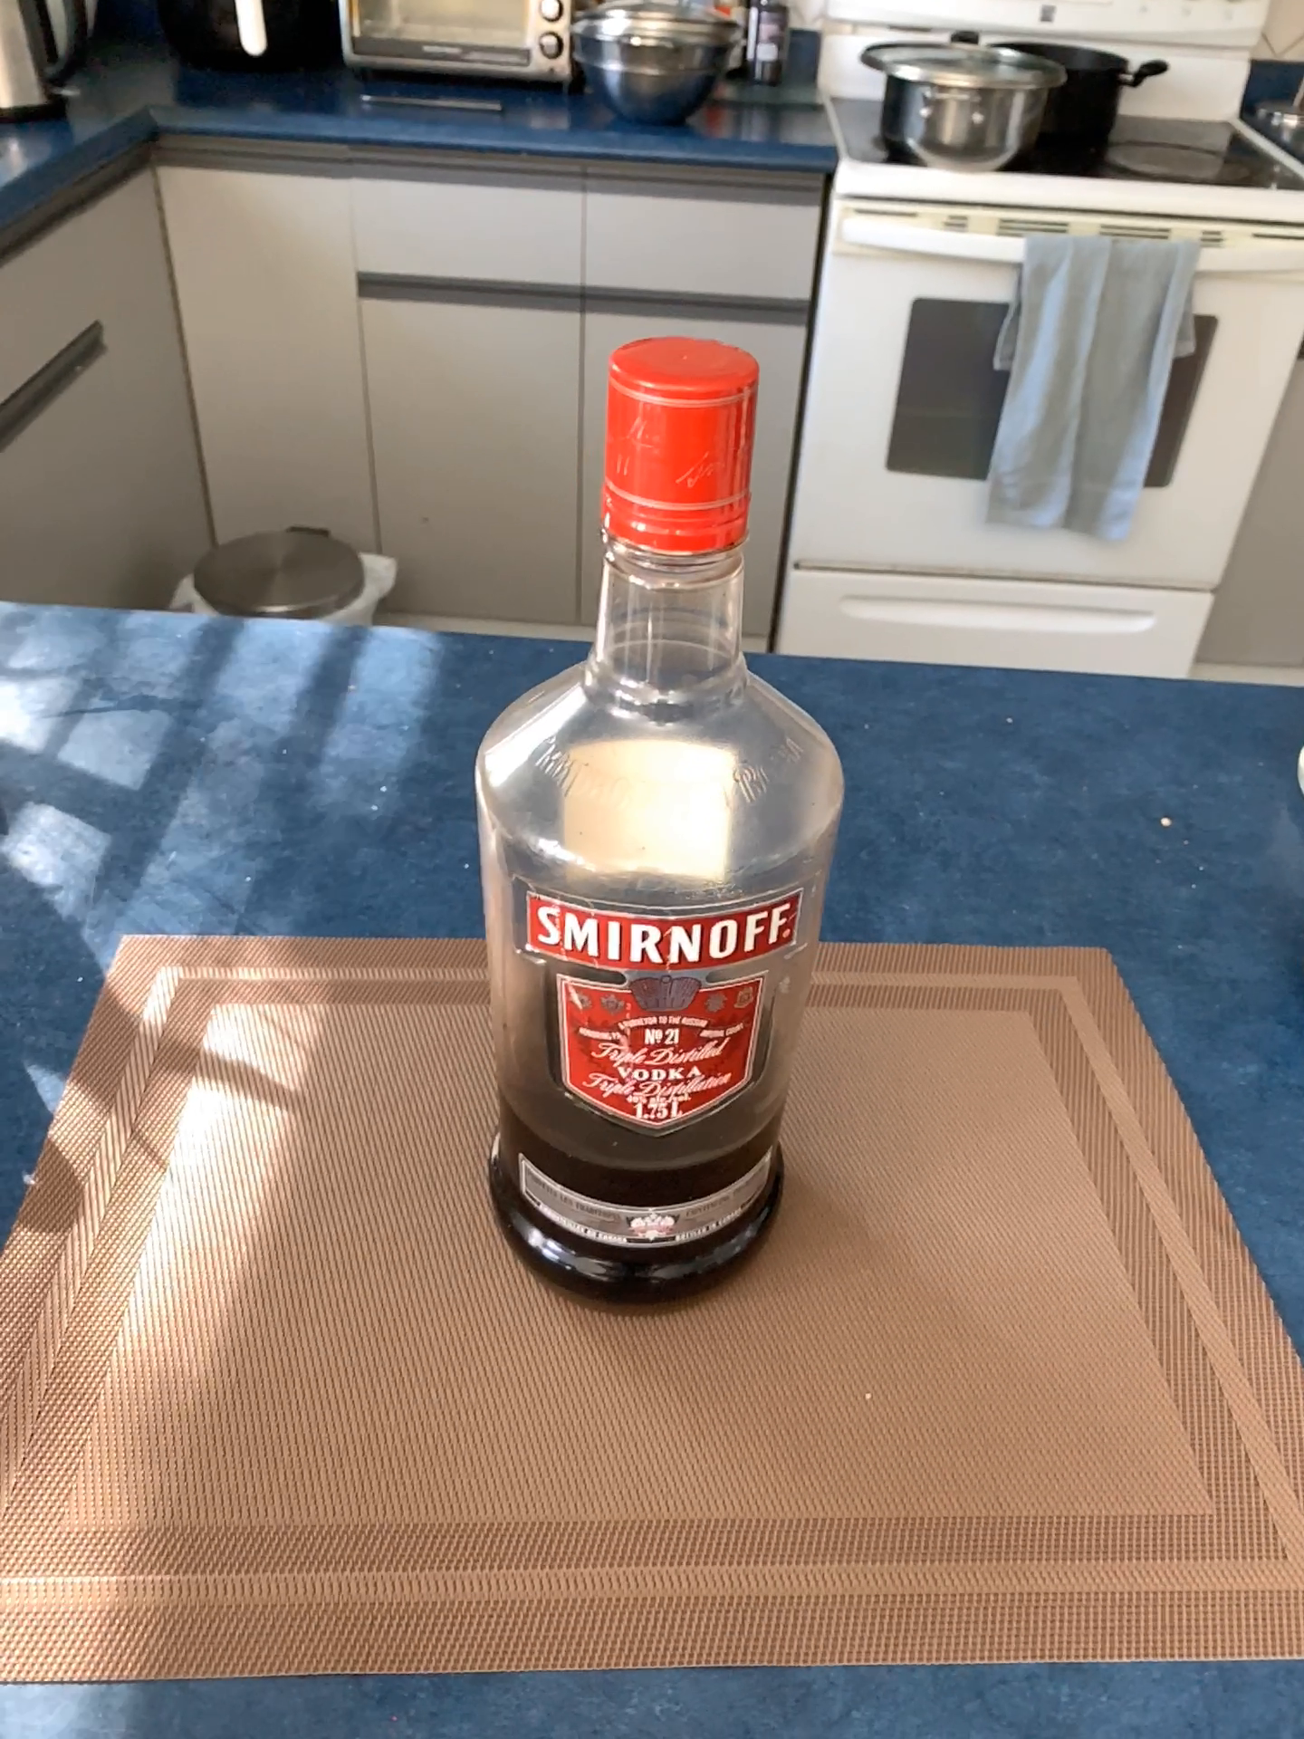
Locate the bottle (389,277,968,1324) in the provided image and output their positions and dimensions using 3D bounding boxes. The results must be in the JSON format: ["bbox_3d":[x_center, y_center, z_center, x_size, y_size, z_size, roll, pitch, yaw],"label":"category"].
[{"bbox_3d":[-0.004,0.001,0.419,0.120,0.317,0.111,2,38,-2],"label":"bottle"}]
